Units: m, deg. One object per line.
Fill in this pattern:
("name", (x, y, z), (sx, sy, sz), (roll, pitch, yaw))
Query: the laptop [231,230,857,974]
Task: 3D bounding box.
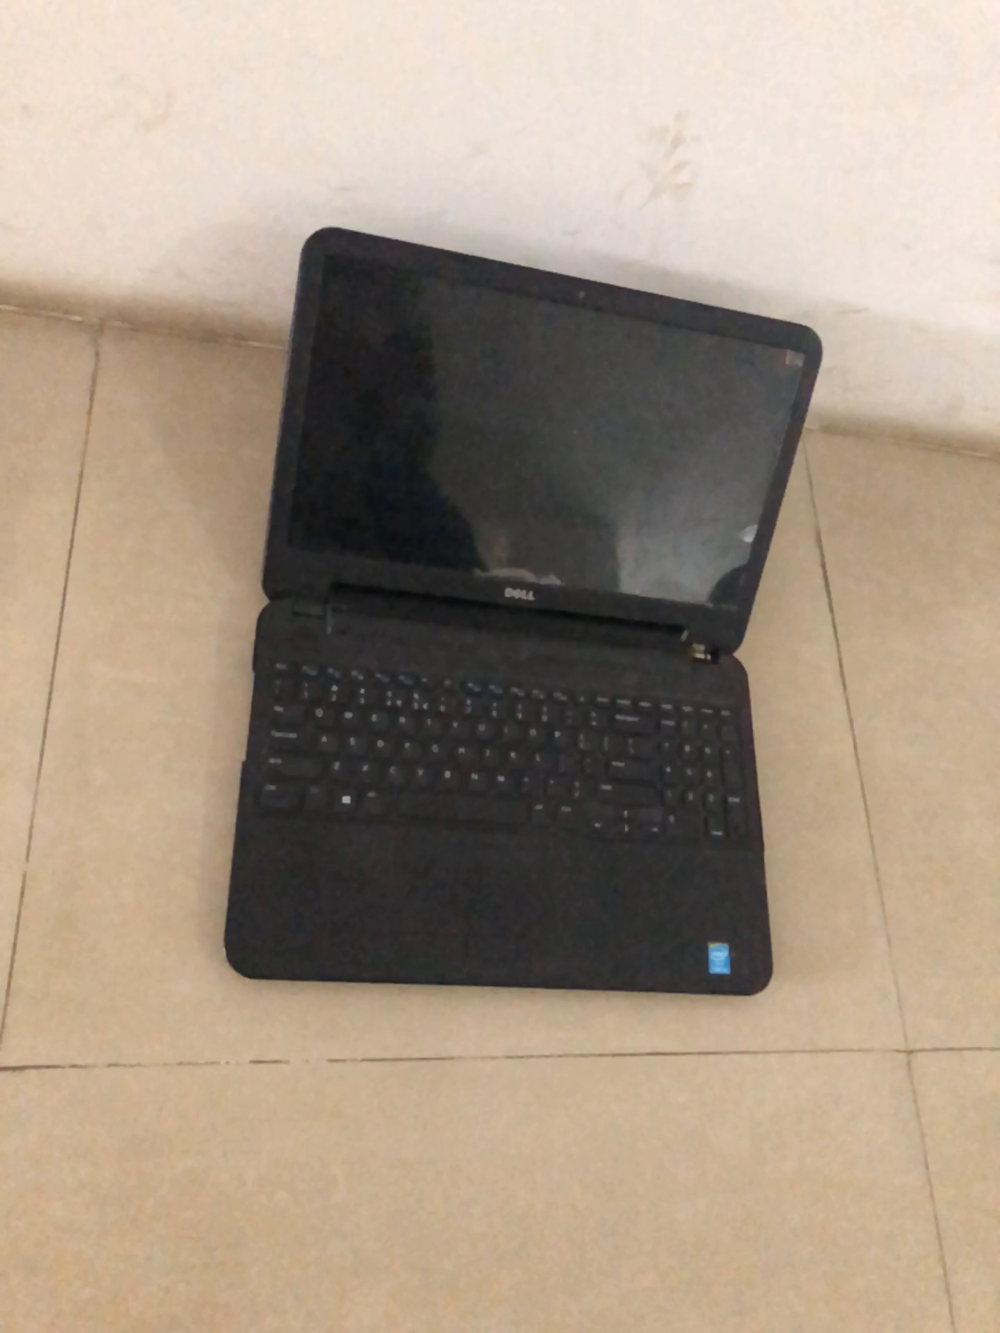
("laptop", (0.010, -0.029, 0.703), (0.322, 0.166, 0.409), (5, 65, -16))
